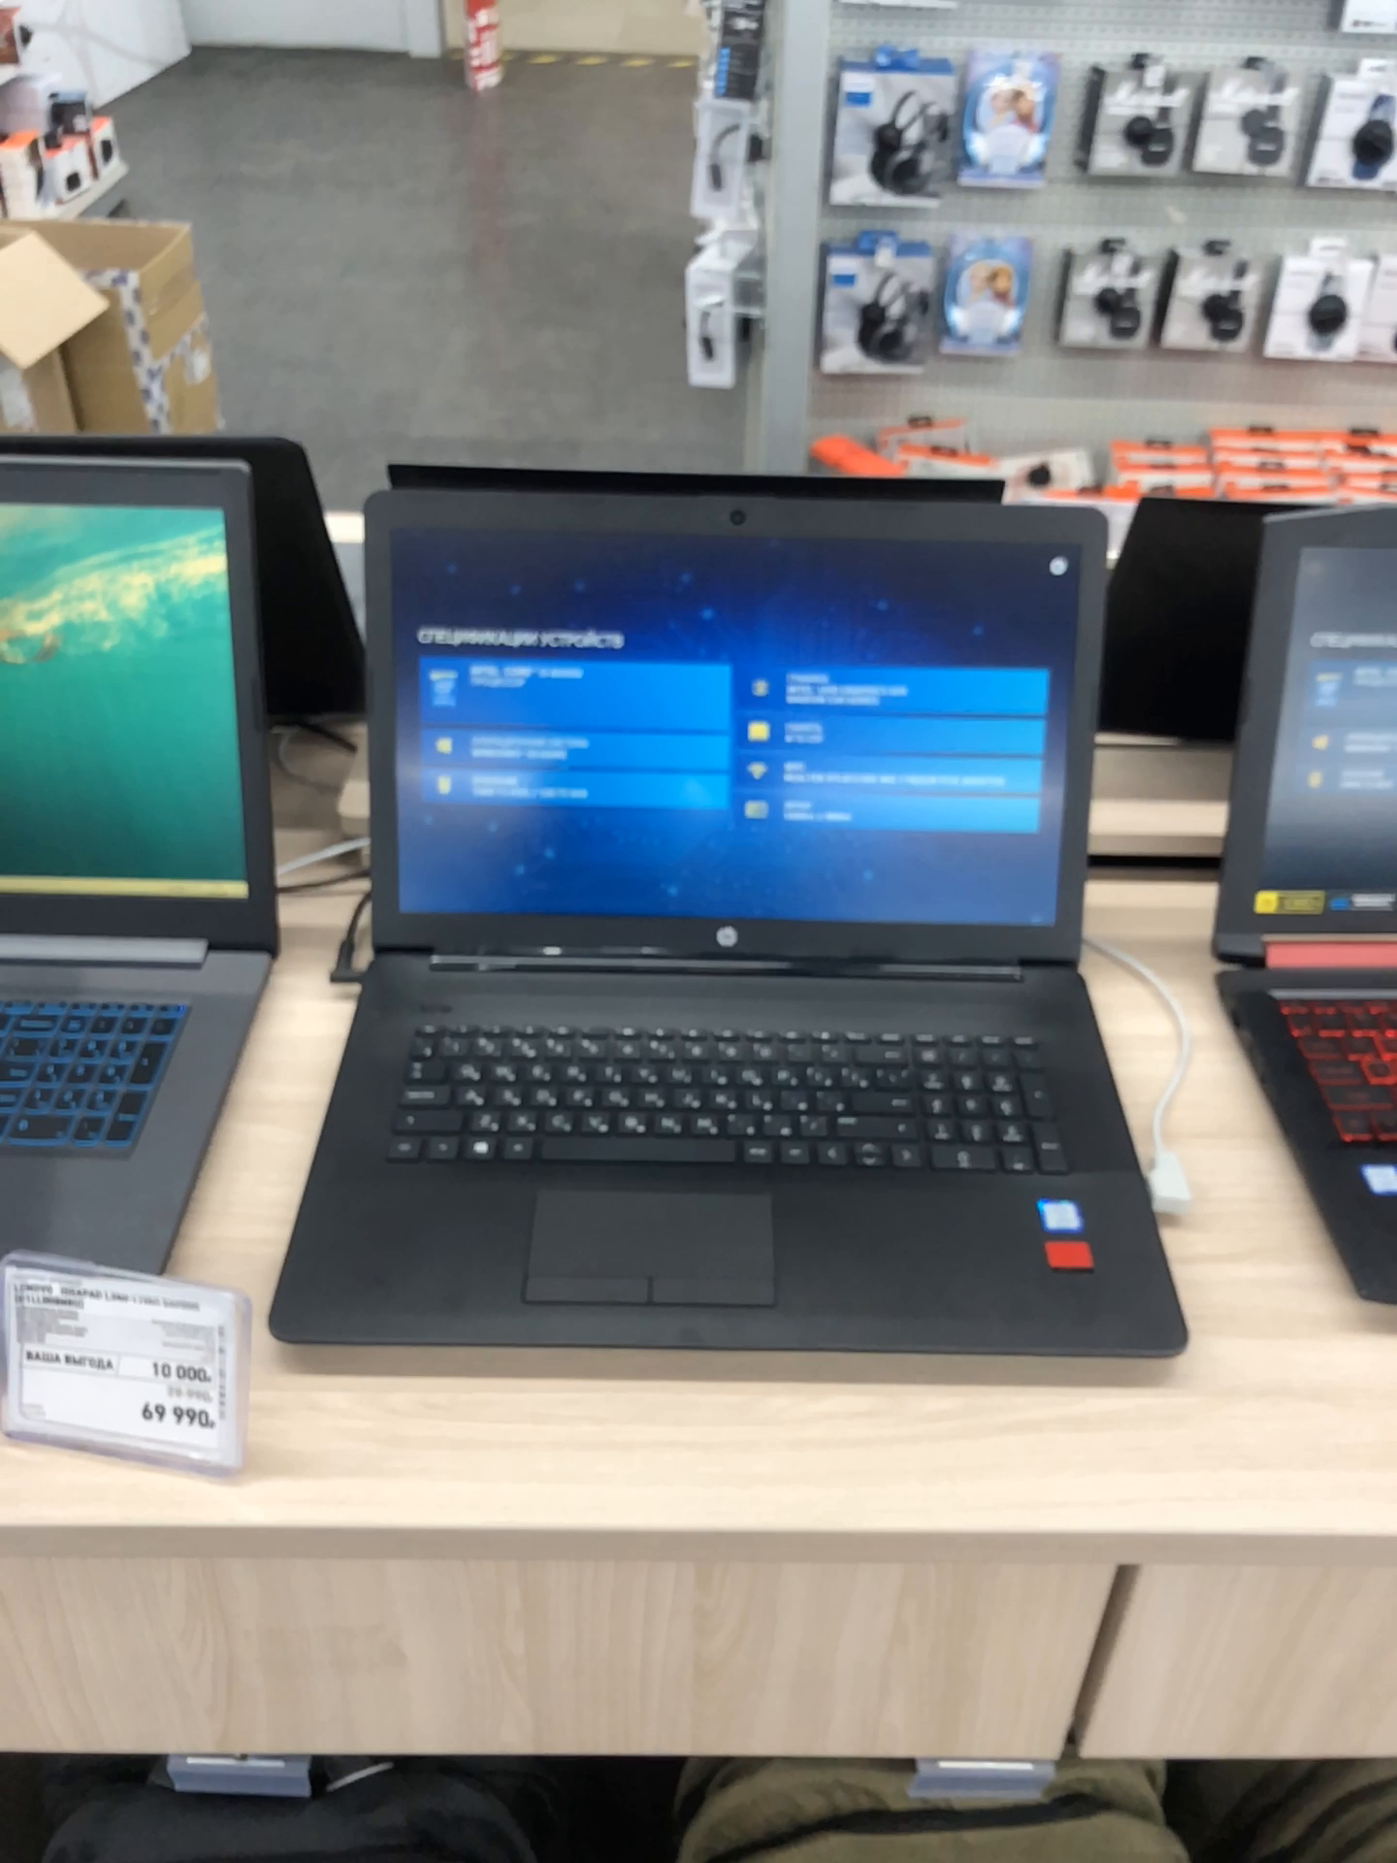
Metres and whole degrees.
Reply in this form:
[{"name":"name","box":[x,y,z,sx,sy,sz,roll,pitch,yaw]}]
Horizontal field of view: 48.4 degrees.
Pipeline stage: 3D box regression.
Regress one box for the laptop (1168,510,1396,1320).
[{"name":"laptop","box":[0.505,-0.020,0.747,0.402,0.224,0.304,-1,41,-2]}]

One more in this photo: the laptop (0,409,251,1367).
[{"name":"laptop","box":[-0.439,-0.040,0.717,0.380,0.226,0.374,2,38,-5]}]

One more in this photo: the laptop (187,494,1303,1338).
[{"name":"laptop","box":[0.017,-0.028,0.749,0.387,0.213,0.374,1,38,-1]}]
